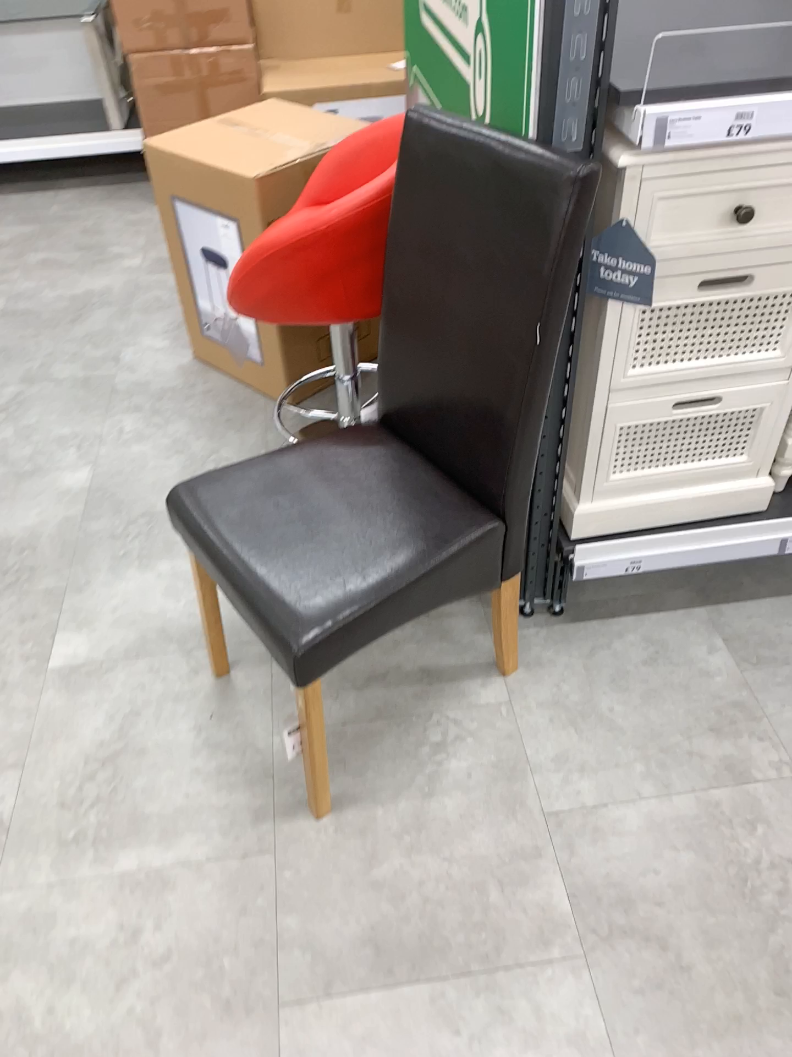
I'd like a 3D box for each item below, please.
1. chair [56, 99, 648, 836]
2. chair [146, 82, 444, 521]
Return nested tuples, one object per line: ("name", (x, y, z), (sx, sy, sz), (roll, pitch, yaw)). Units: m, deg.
("chair", (-0.039, -0.069, 1.249), (0.557, 0.913, 0.428), (-27, 47, -24))
("chair", (-0.143, -0.460, 1.714), (0.455, 0.774, 0.429), (3, 42, 7))
